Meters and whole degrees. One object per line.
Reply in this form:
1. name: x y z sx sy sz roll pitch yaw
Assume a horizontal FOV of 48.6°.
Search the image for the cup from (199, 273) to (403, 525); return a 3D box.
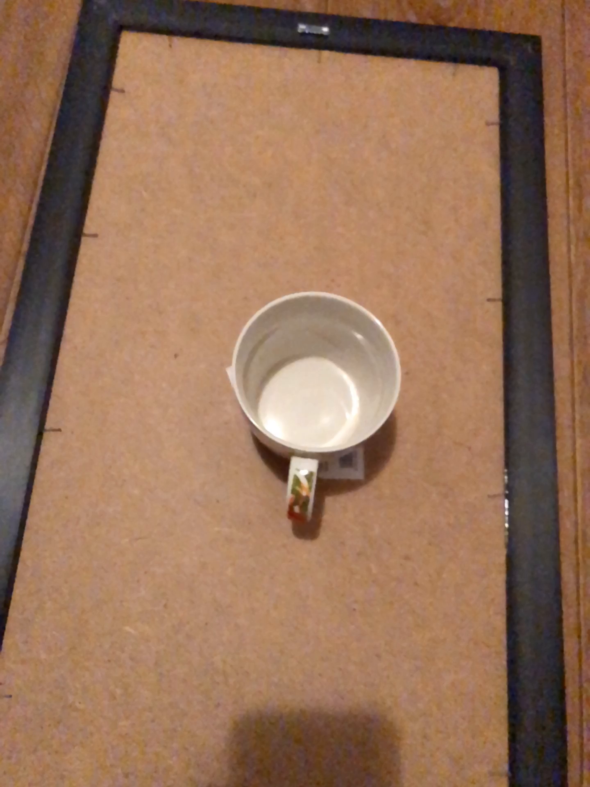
1. cup: 0.004 0.007 0.381 0.098 0.080 0.121 5 73 -1
